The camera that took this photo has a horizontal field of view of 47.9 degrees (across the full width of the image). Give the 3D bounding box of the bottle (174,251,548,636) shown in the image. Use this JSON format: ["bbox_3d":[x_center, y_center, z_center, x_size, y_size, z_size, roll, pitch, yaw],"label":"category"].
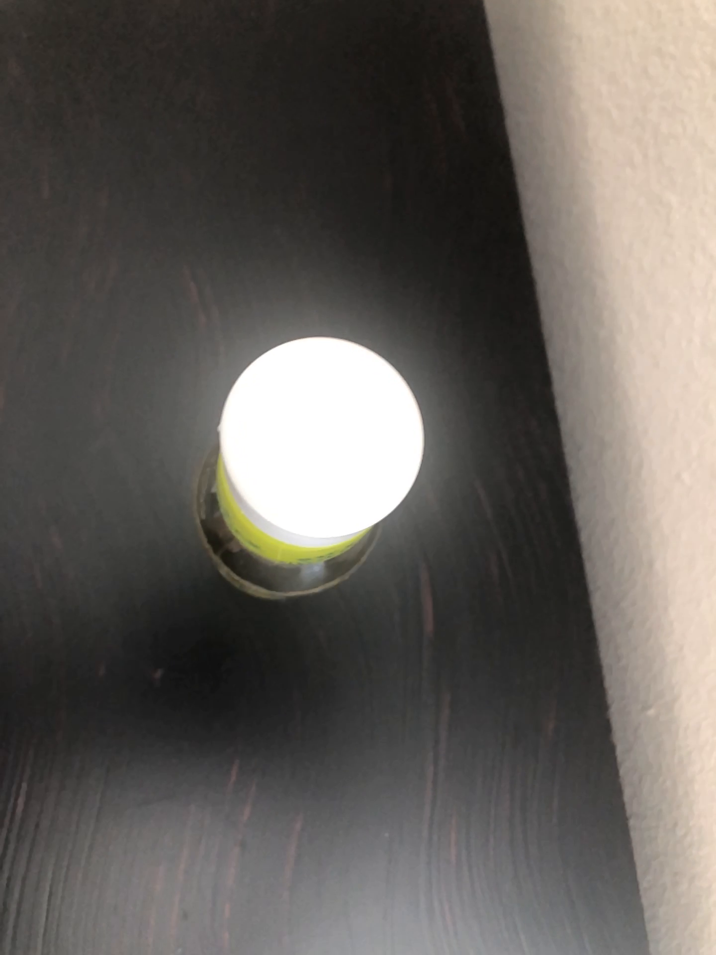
[{"bbox_3d":[-0.014,0.010,0.252,0.070,0.200,0.070,2,80,-10],"label":"bottle"}]
